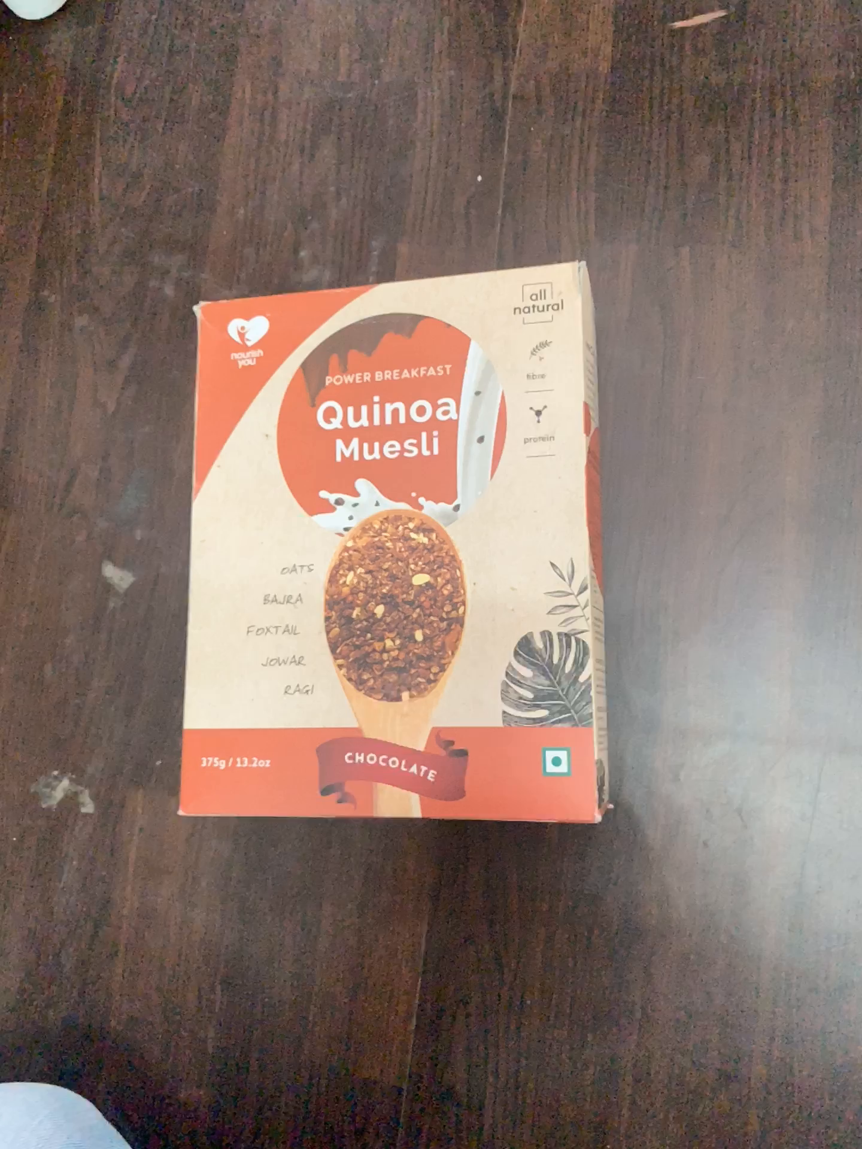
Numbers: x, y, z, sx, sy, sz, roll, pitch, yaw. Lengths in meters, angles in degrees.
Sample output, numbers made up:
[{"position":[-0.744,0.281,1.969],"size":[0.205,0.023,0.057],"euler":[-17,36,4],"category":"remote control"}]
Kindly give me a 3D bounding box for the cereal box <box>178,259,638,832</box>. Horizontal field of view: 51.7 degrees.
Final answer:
[{"position":[-0.004,-0.008,0.371],"size":[0.170,0.070,0.210],"euler":[-2,79,13],"category":"cereal box"}]
